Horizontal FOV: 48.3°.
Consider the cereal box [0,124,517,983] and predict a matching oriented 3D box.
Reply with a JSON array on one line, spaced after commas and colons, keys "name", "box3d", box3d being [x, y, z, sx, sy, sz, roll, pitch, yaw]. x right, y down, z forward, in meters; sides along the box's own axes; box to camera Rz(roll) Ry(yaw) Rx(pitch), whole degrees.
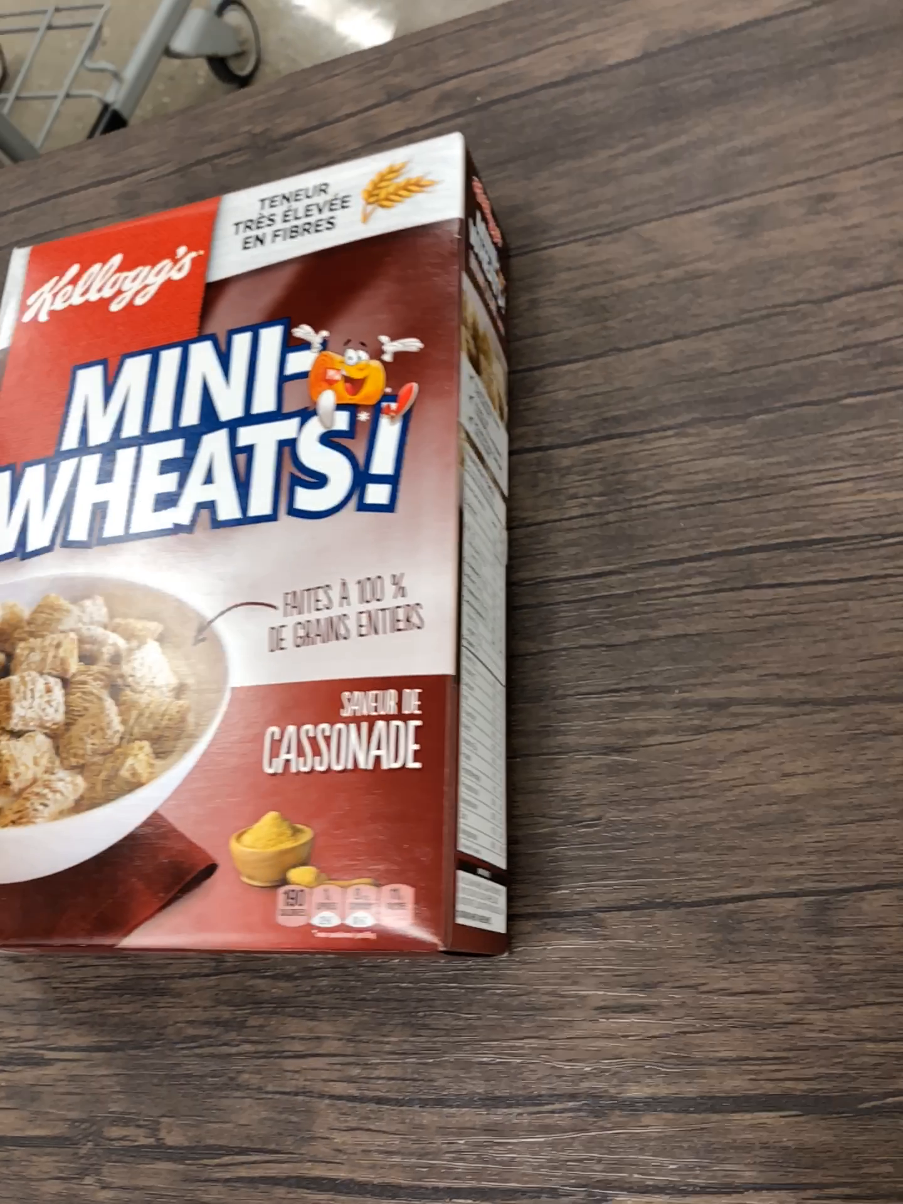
[{"name": "cereal box", "box3d": [-0.088, -0.013, 0.339, 0.210, 0.060, 0.260, -6, 68, 18]}]
